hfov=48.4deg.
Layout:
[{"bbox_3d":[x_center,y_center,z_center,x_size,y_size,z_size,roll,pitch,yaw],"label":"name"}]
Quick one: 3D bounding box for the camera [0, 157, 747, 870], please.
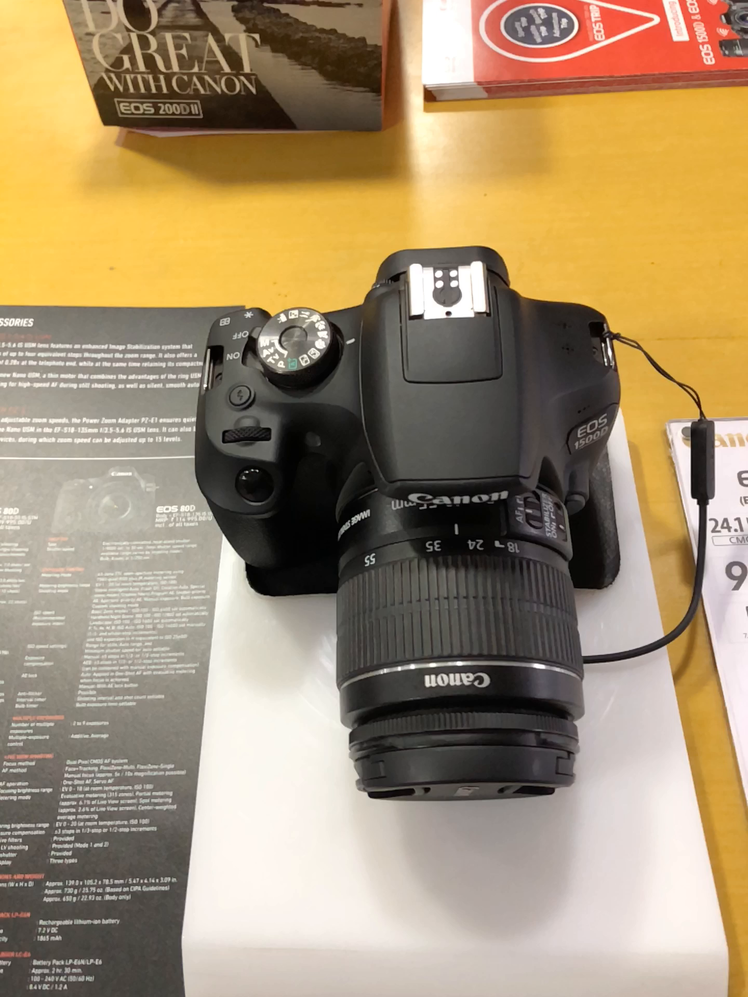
[{"bbox_3d":[0.012,0.006,0.201,0.140,0.090,0.141,-3,58,3],"label":"camera"}]
